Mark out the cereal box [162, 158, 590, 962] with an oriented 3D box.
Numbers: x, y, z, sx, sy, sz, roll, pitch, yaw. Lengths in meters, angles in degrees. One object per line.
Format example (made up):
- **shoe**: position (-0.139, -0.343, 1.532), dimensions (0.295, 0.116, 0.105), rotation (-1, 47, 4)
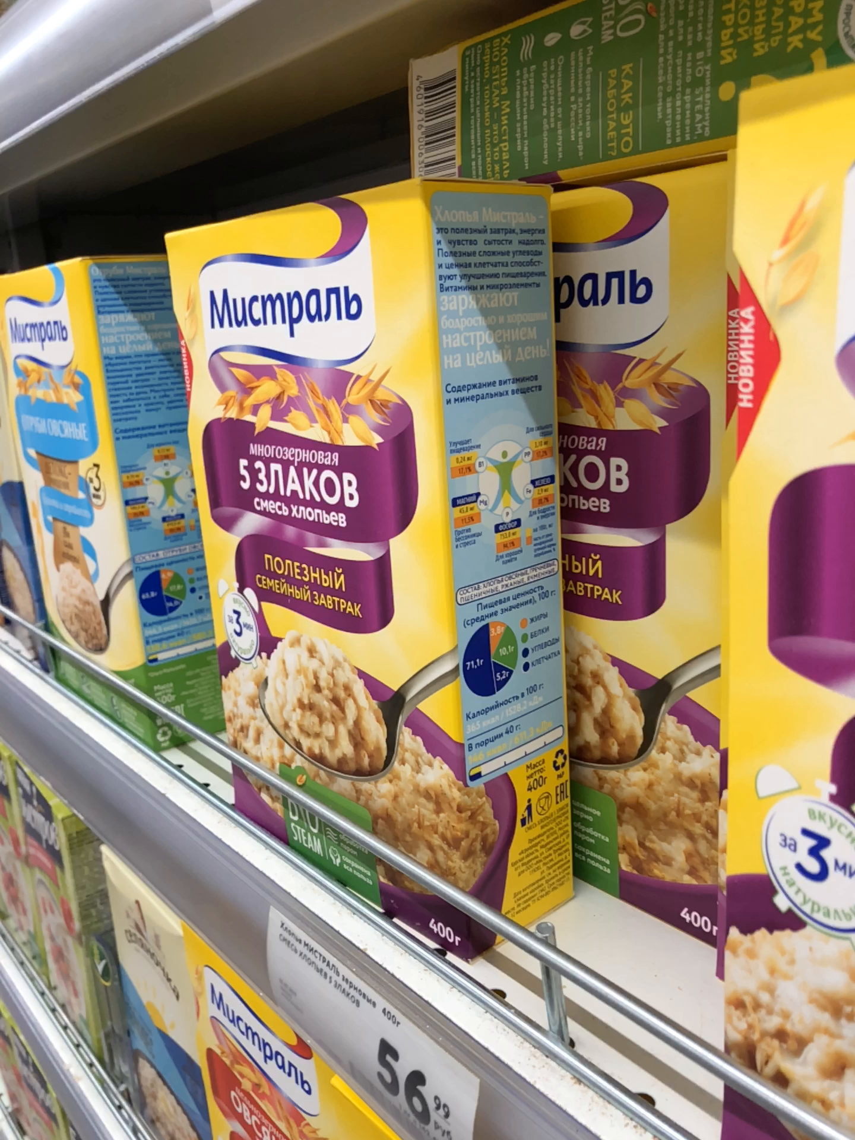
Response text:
- **cereal box**: position (-0.018, -0.007, 0.304), dimensions (0.050, 0.209, 0.130), rotation (-16, 18, -38)
